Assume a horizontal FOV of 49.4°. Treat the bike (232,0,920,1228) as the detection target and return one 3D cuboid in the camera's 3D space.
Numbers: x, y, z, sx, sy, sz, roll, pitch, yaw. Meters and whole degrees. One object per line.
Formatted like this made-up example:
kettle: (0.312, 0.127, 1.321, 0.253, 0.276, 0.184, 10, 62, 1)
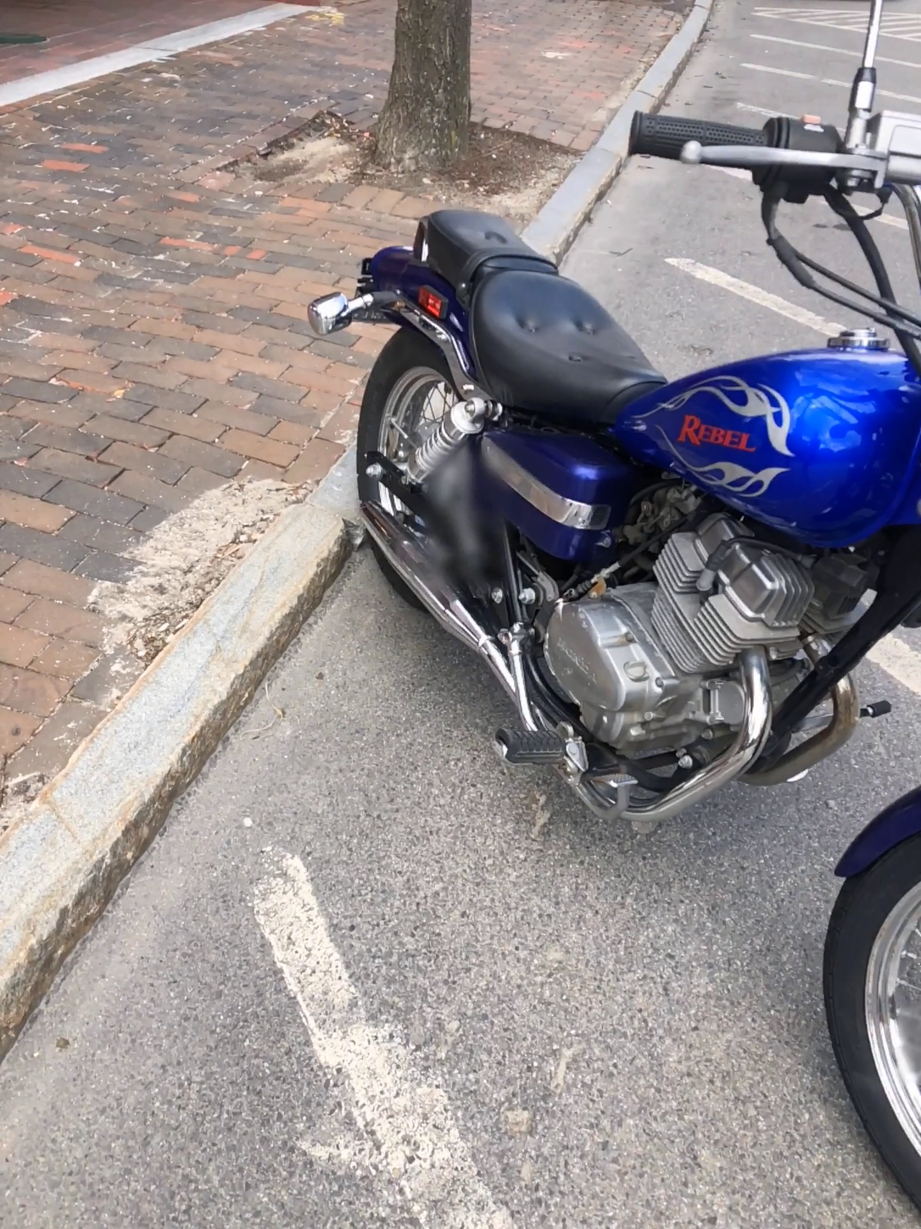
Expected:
bike: (0.469, -0.199, 1.362, 0.790, 1.036, 1.914, -18, 38, -26)
